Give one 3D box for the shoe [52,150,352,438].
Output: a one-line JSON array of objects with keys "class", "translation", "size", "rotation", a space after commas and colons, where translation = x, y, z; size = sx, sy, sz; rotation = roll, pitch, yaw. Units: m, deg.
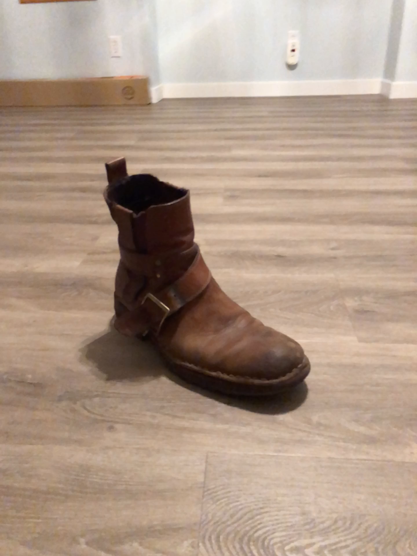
[{"class": "shoe", "translation": [-0.018, -0.009, 0.509], "size": [0.291, 0.209, 0.130], "rotation": [20, 34, 37]}]
